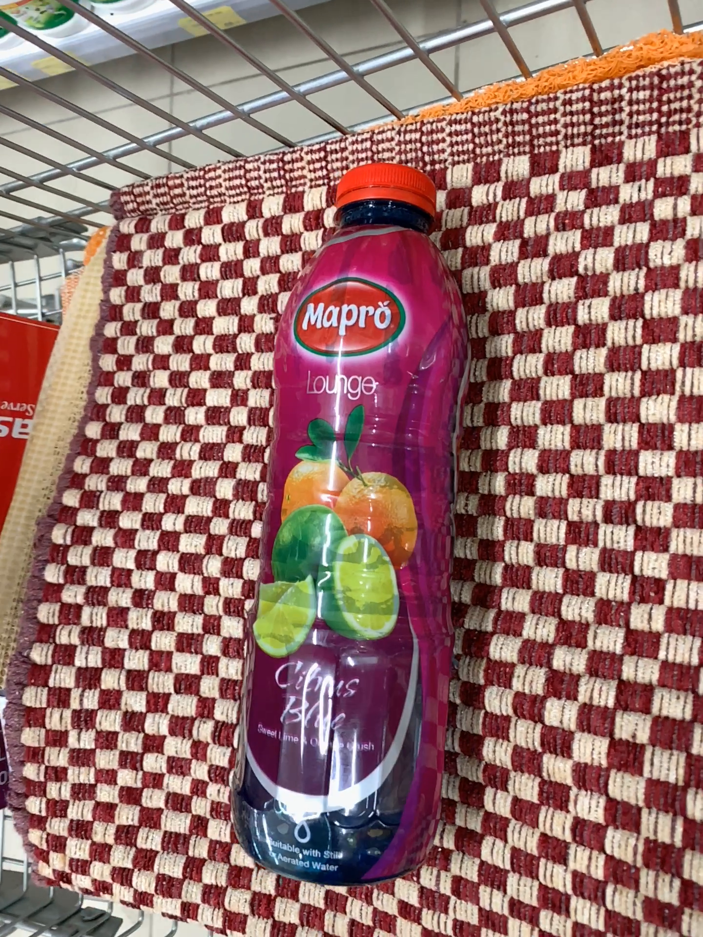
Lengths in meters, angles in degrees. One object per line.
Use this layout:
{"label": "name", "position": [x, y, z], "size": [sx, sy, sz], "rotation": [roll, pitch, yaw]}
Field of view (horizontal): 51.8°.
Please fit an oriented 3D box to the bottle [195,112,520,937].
{"label": "bottle", "position": [0.006, 0.019, 0.261], "size": [0.090, 0.070, 0.250], "rotation": [3, 91, 17]}
